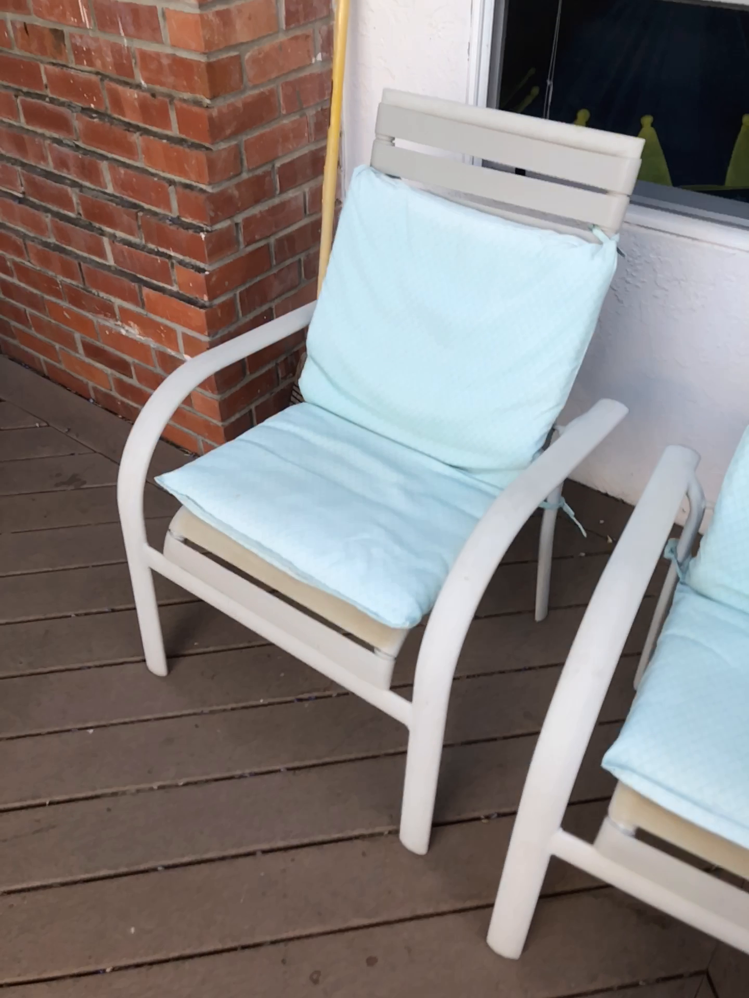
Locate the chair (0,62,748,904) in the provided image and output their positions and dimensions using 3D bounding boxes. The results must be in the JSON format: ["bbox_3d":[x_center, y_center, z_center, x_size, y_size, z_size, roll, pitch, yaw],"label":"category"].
[{"bbox_3d":[0.087,-0.095,1.498,0.741,0.994,0.974,25,47,26],"label":"chair"}]
